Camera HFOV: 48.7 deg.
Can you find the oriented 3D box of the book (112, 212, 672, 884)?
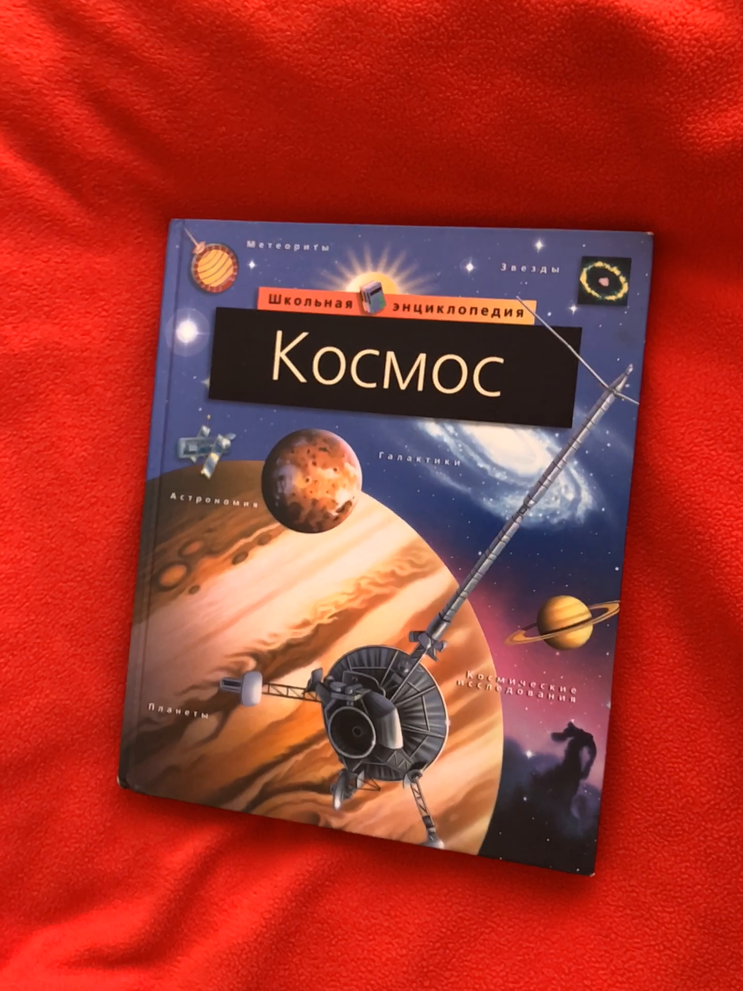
[{"bbox_3d":[0.003,0.015,0.390,0.235,0.030,0.284,6,91,12],"label":"book"}]
